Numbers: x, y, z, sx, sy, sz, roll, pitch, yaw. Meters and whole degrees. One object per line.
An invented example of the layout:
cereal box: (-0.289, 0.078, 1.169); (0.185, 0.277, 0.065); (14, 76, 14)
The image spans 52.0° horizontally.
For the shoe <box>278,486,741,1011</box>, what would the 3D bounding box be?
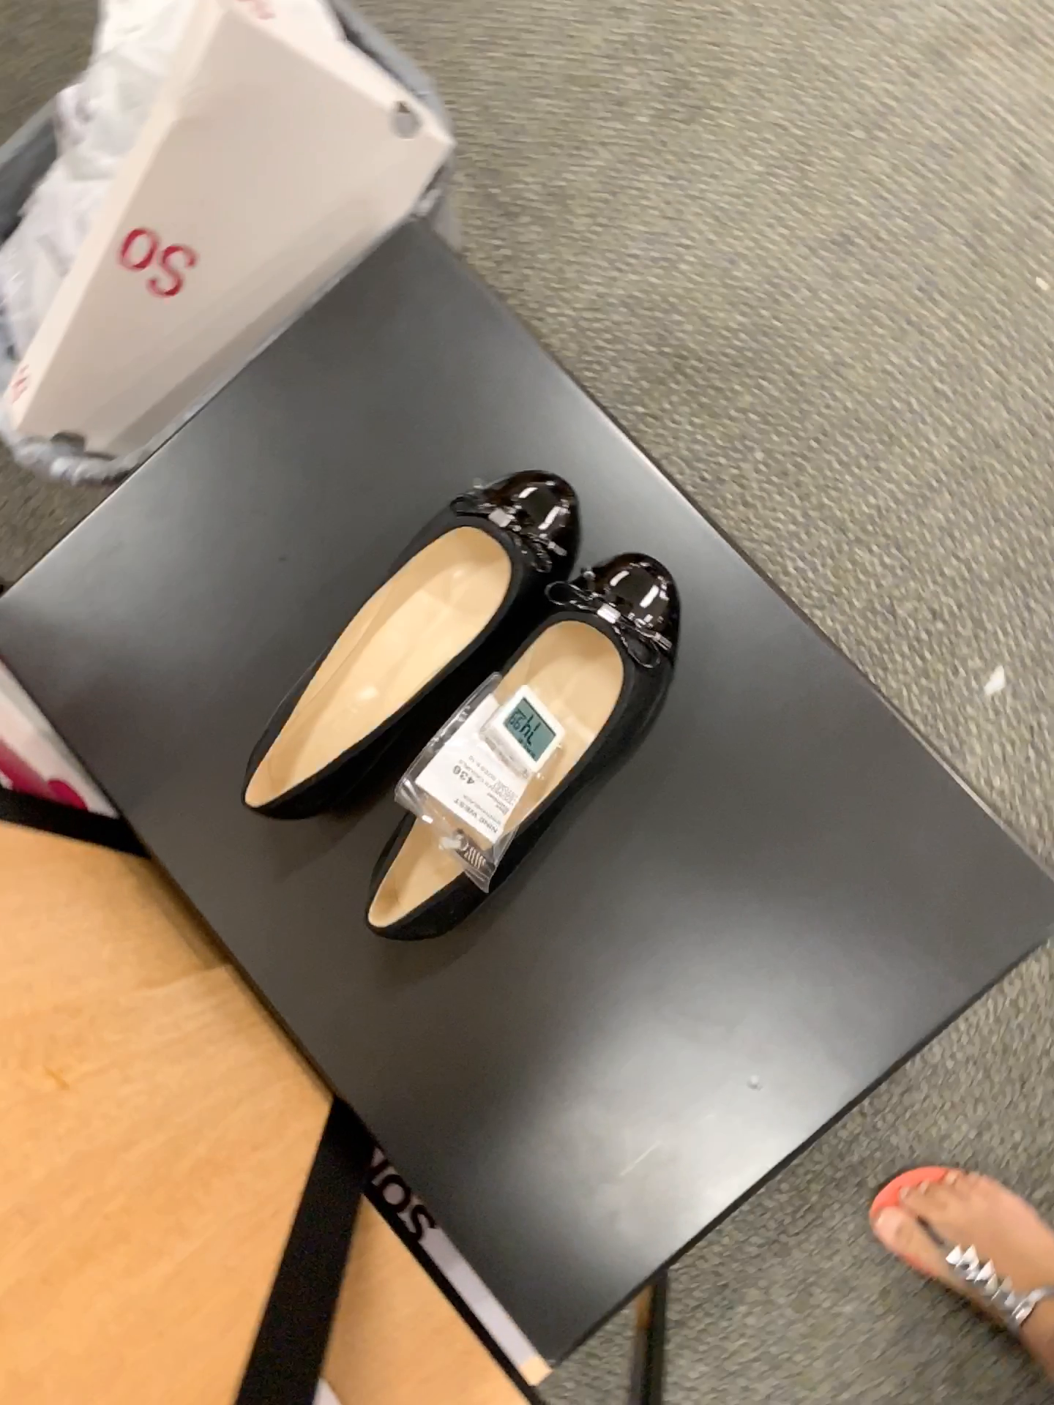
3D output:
shoe: (-0.003, 0.026, 0.568); (0.090, 0.100, 0.250); (38, 90, 11)

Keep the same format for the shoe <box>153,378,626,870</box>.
shoe: (-0.066, -0.035, 0.586); (0.090, 0.100, 0.250); (42, 91, 11)
